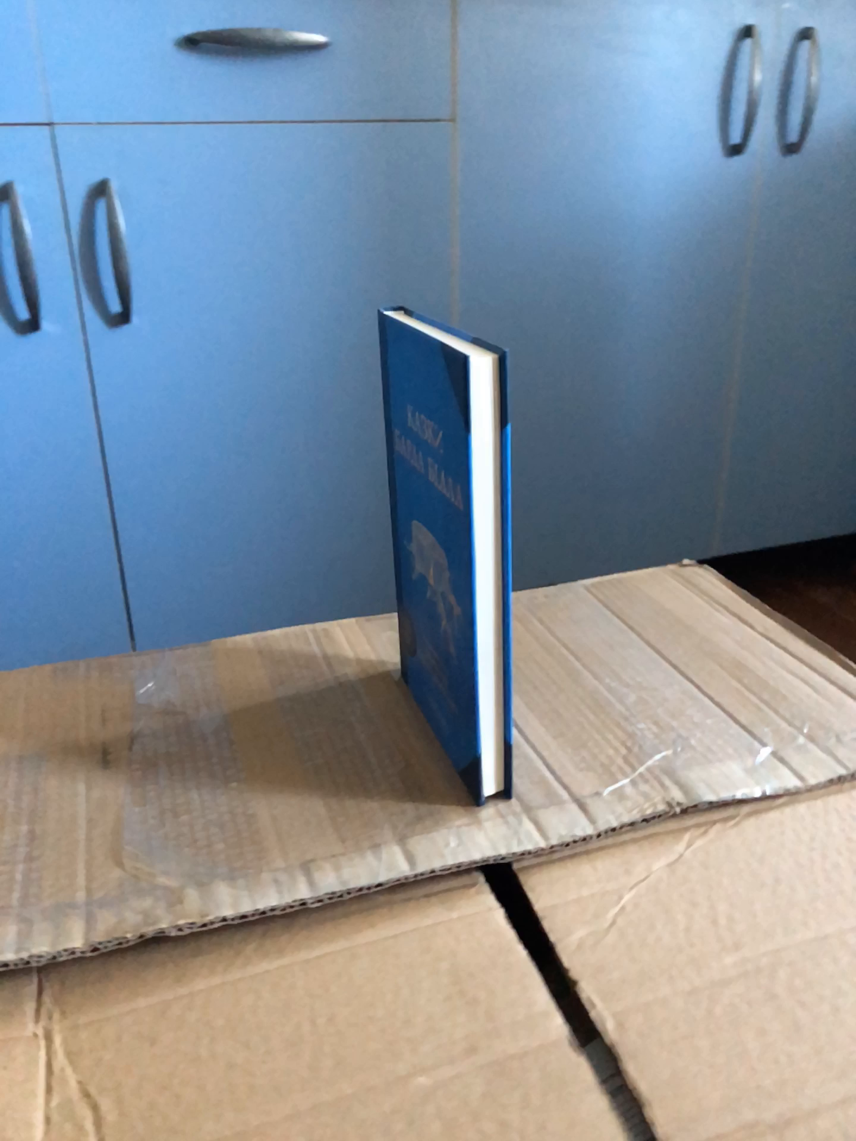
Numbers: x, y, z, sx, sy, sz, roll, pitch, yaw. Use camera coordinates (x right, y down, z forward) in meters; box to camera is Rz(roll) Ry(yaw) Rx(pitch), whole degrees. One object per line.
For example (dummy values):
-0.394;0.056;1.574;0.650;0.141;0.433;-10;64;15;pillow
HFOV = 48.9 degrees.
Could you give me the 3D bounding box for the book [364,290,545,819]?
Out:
0.006;-0.015;0.430;0.030;0.199;0.144;-8;25;-16;book
